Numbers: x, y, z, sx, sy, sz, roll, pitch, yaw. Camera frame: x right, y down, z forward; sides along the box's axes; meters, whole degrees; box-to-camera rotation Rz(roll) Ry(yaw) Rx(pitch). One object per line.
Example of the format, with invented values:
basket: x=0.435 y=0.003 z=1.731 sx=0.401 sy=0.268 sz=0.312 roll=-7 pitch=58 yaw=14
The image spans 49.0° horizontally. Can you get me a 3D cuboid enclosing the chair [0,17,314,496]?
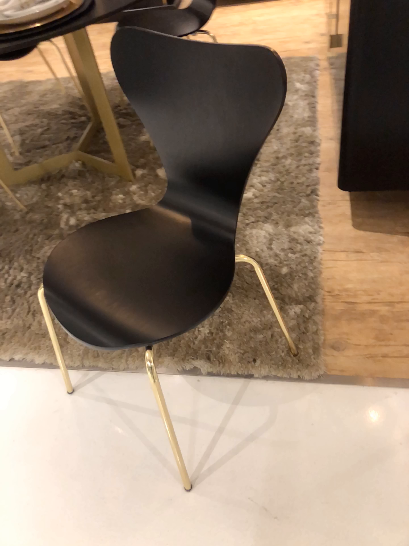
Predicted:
chair: x=-0.127 y=-0.022 z=0.958 sx=0.502 sy=0.755 sz=0.502 roll=26 pitch=57 yaw=31
